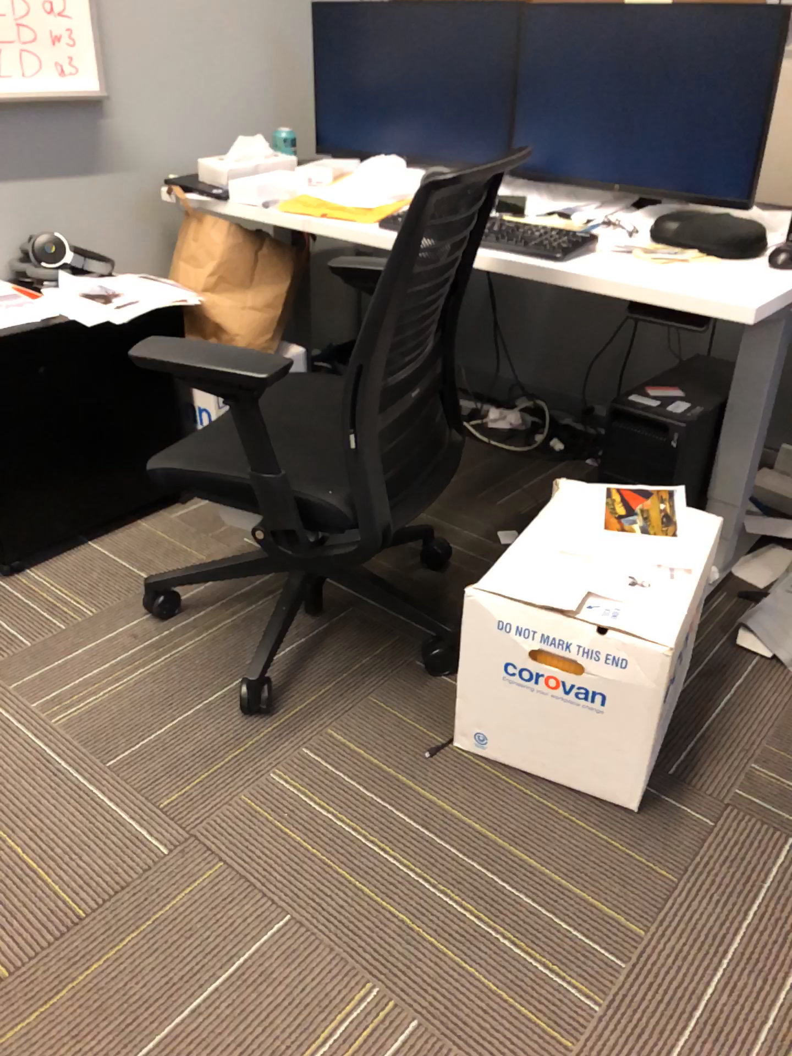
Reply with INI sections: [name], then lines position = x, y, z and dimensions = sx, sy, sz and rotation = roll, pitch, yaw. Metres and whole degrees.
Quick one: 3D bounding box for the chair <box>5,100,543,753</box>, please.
[chair]
position = -0.146, -0.239, 1.603
dimensions = 0.610, 0.935, 0.674
rotation = 11, 31, 16
